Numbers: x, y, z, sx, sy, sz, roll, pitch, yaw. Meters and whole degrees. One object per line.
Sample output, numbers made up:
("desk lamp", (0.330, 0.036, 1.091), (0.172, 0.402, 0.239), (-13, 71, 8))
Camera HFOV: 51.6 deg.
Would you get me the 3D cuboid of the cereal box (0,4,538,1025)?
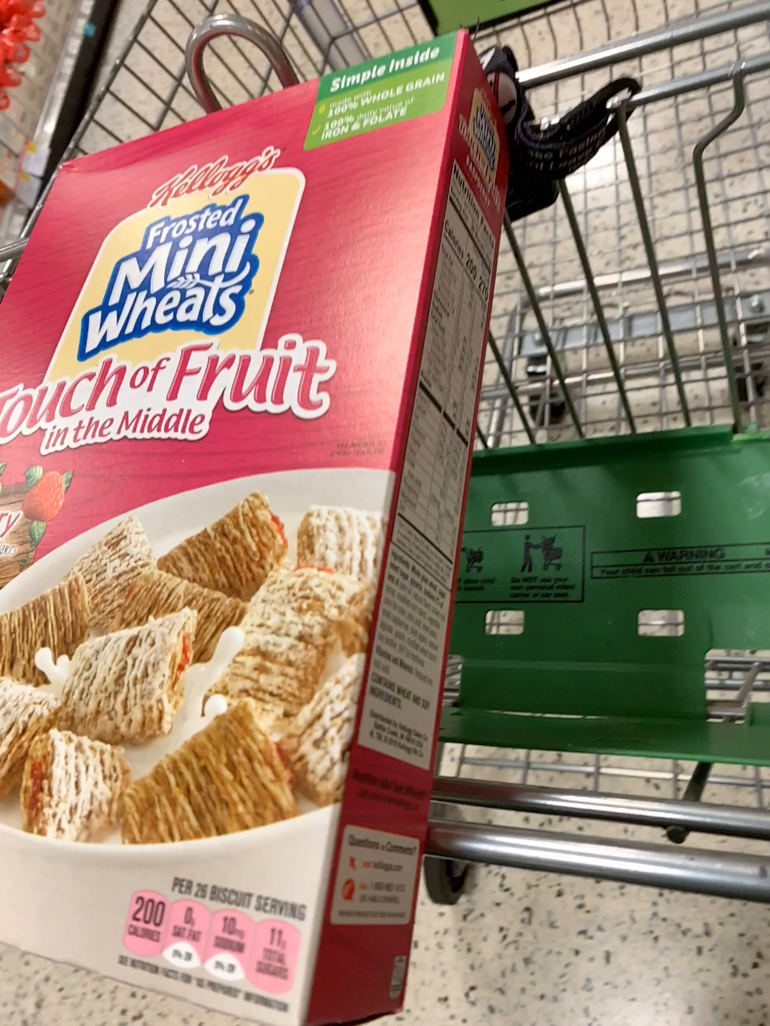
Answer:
("cereal box", (-0.064, -0.017, 0.265), (0.200, 0.050, 0.291), (-3, 65, 27))
